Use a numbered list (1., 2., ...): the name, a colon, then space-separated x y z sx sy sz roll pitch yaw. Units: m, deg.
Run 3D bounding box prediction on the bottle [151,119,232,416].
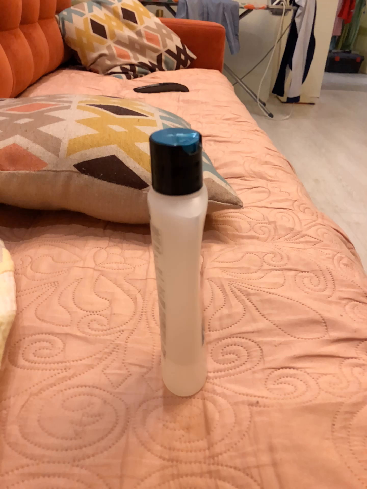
1. bottle: 0.003 0.023 0.278 0.040 0.199 0.070 0 31 -1
